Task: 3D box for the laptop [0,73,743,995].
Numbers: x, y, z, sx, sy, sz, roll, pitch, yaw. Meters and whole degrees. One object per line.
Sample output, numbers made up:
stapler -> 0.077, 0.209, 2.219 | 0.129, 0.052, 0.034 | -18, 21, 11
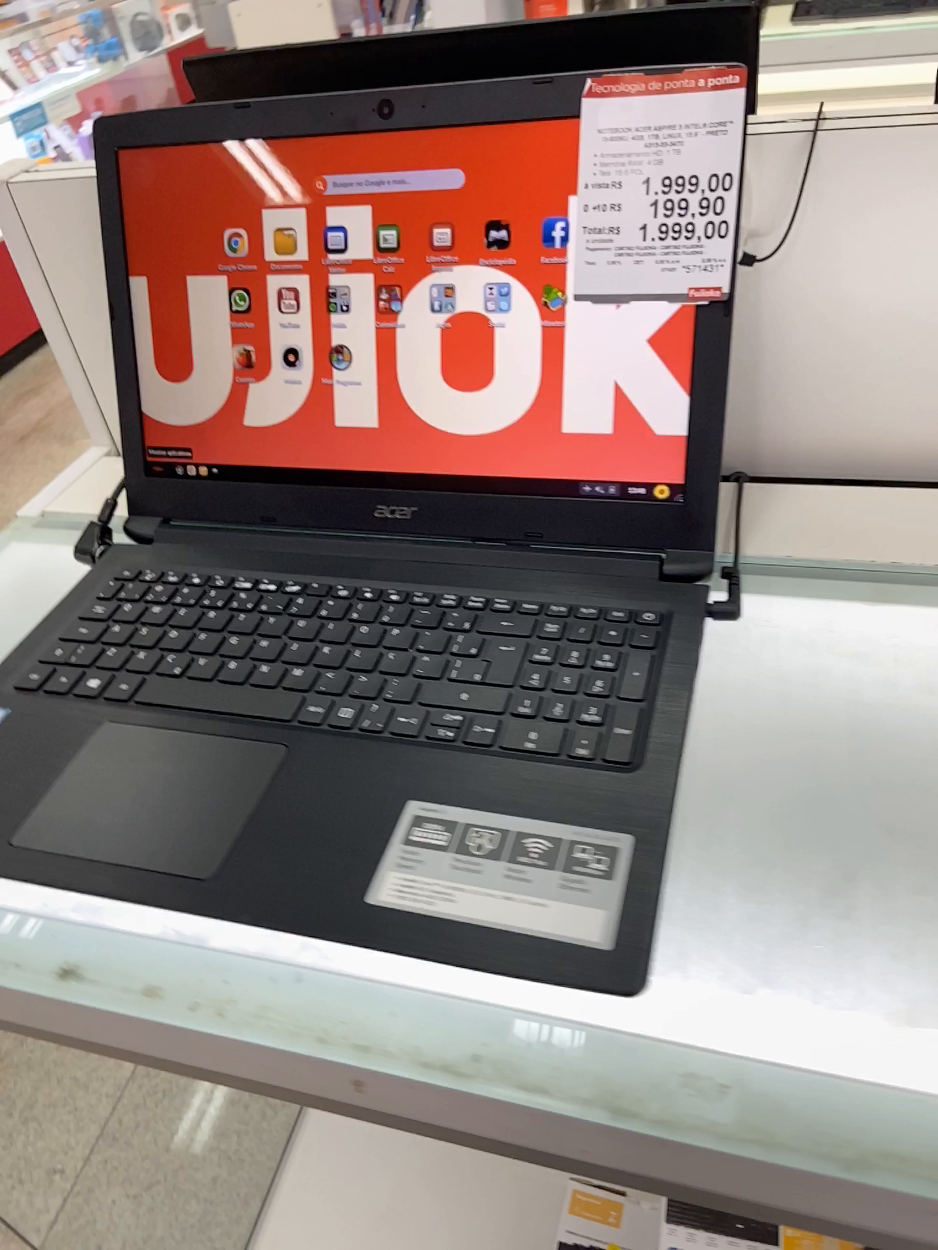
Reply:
laptop -> -0.087, -0.086, 0.472 | 0.392, 0.230, 0.372 | 5, 40, 17
